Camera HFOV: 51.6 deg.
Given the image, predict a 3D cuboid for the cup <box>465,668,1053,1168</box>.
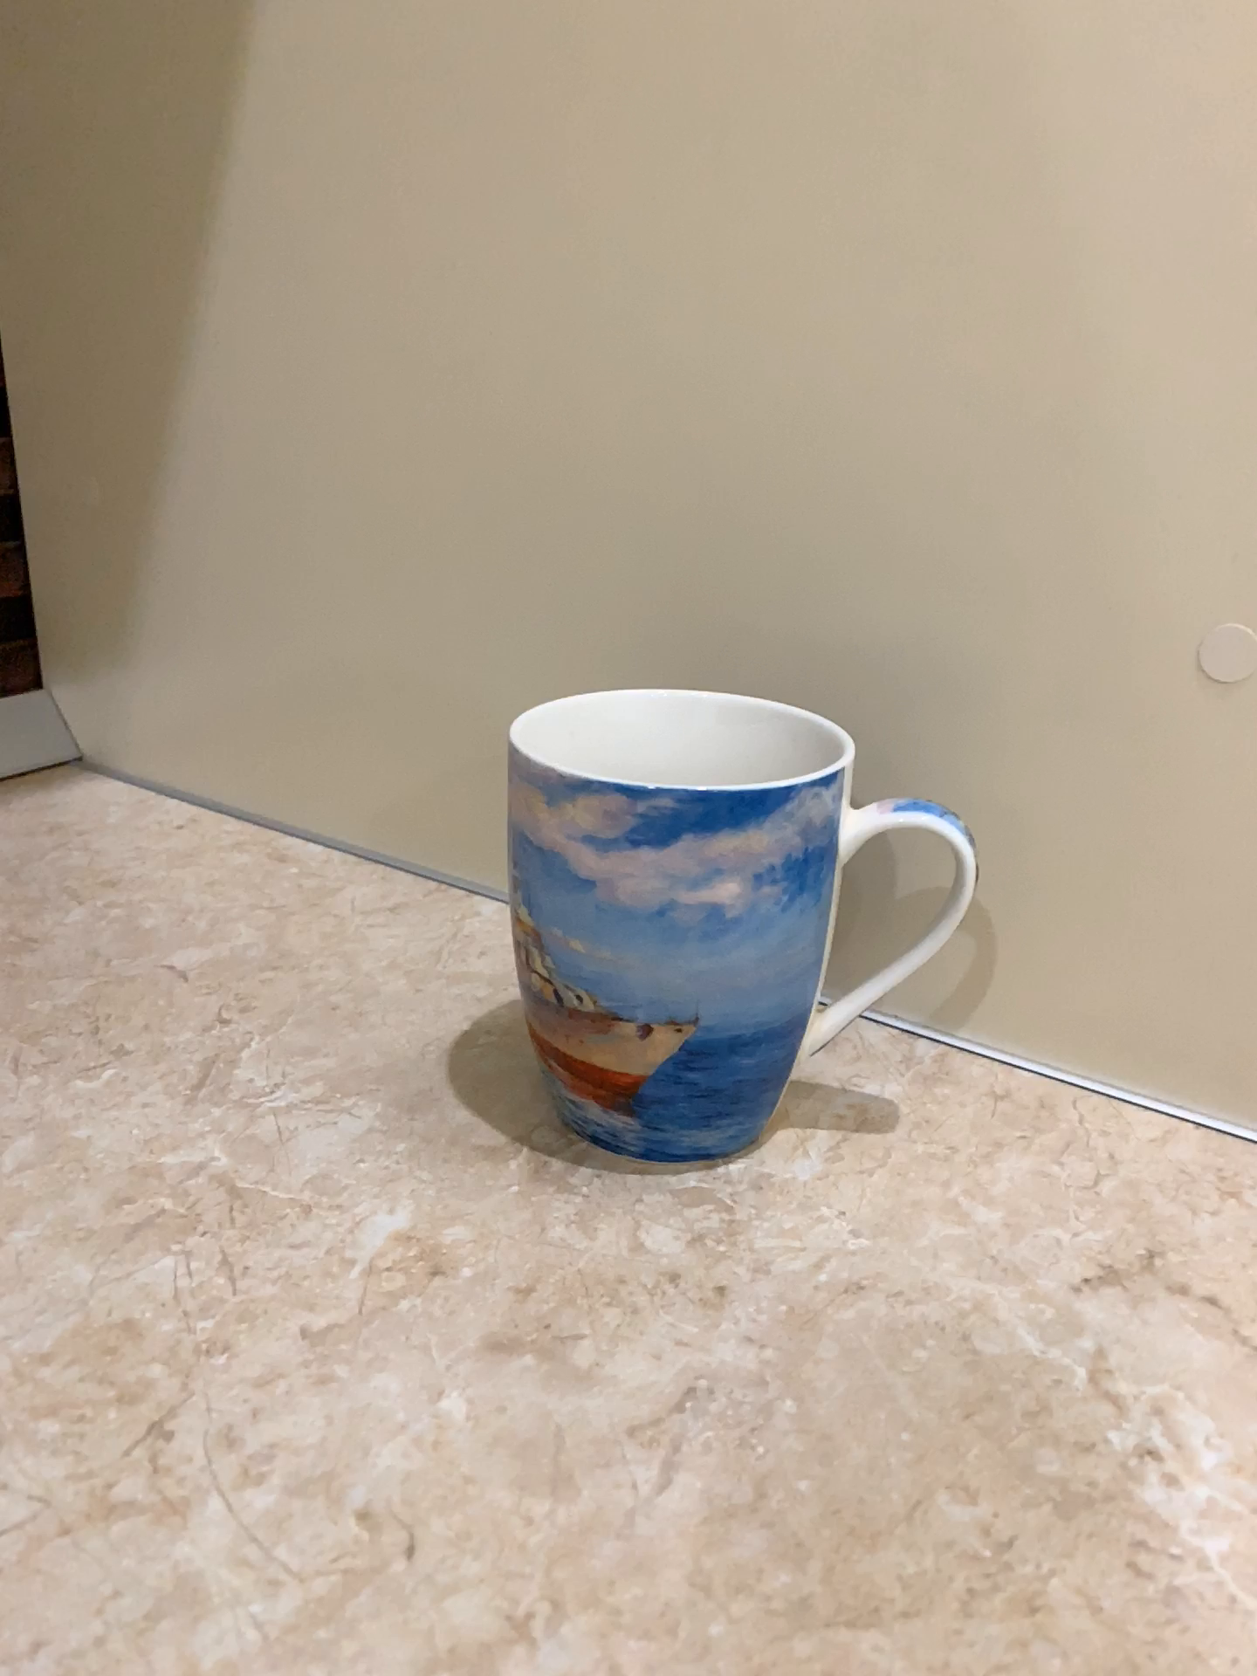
[{"bbox_3d":[0.022,0.015,0.304,0.114,0.087,0.083,2,21,-3],"label":"cup"}]
